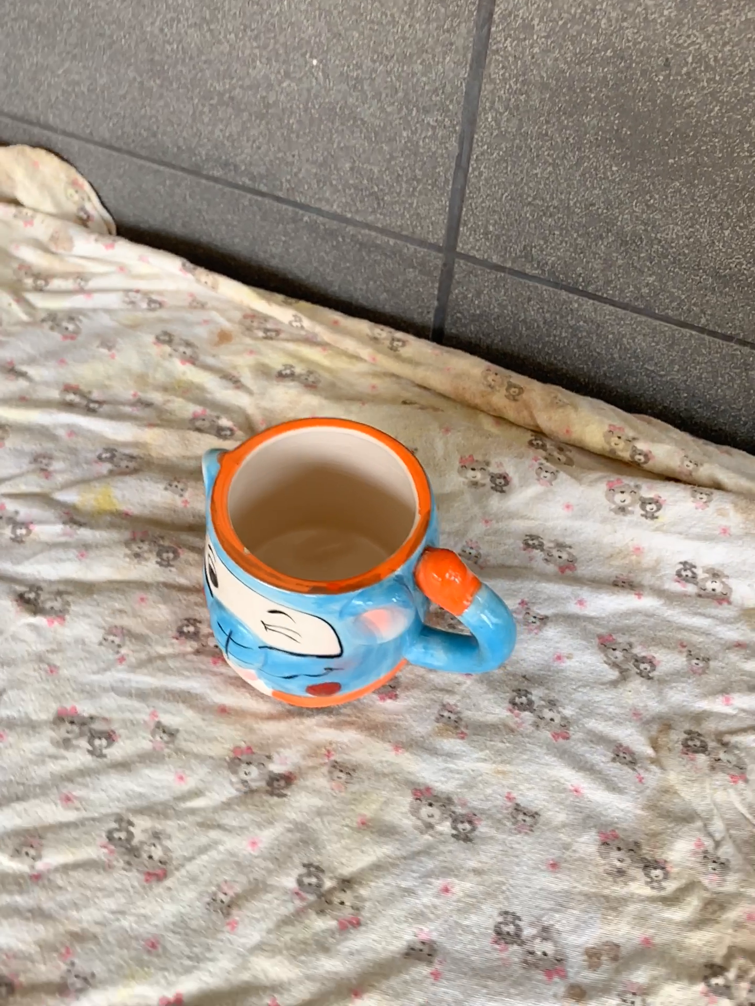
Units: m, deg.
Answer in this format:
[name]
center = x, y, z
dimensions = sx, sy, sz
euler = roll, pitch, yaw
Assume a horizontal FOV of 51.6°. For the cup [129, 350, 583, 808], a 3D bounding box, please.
[cup]
center = -0.006, 0.026, 0.277
dimensions = 0.110, 0.090, 0.090
euler = 26, 55, 15
